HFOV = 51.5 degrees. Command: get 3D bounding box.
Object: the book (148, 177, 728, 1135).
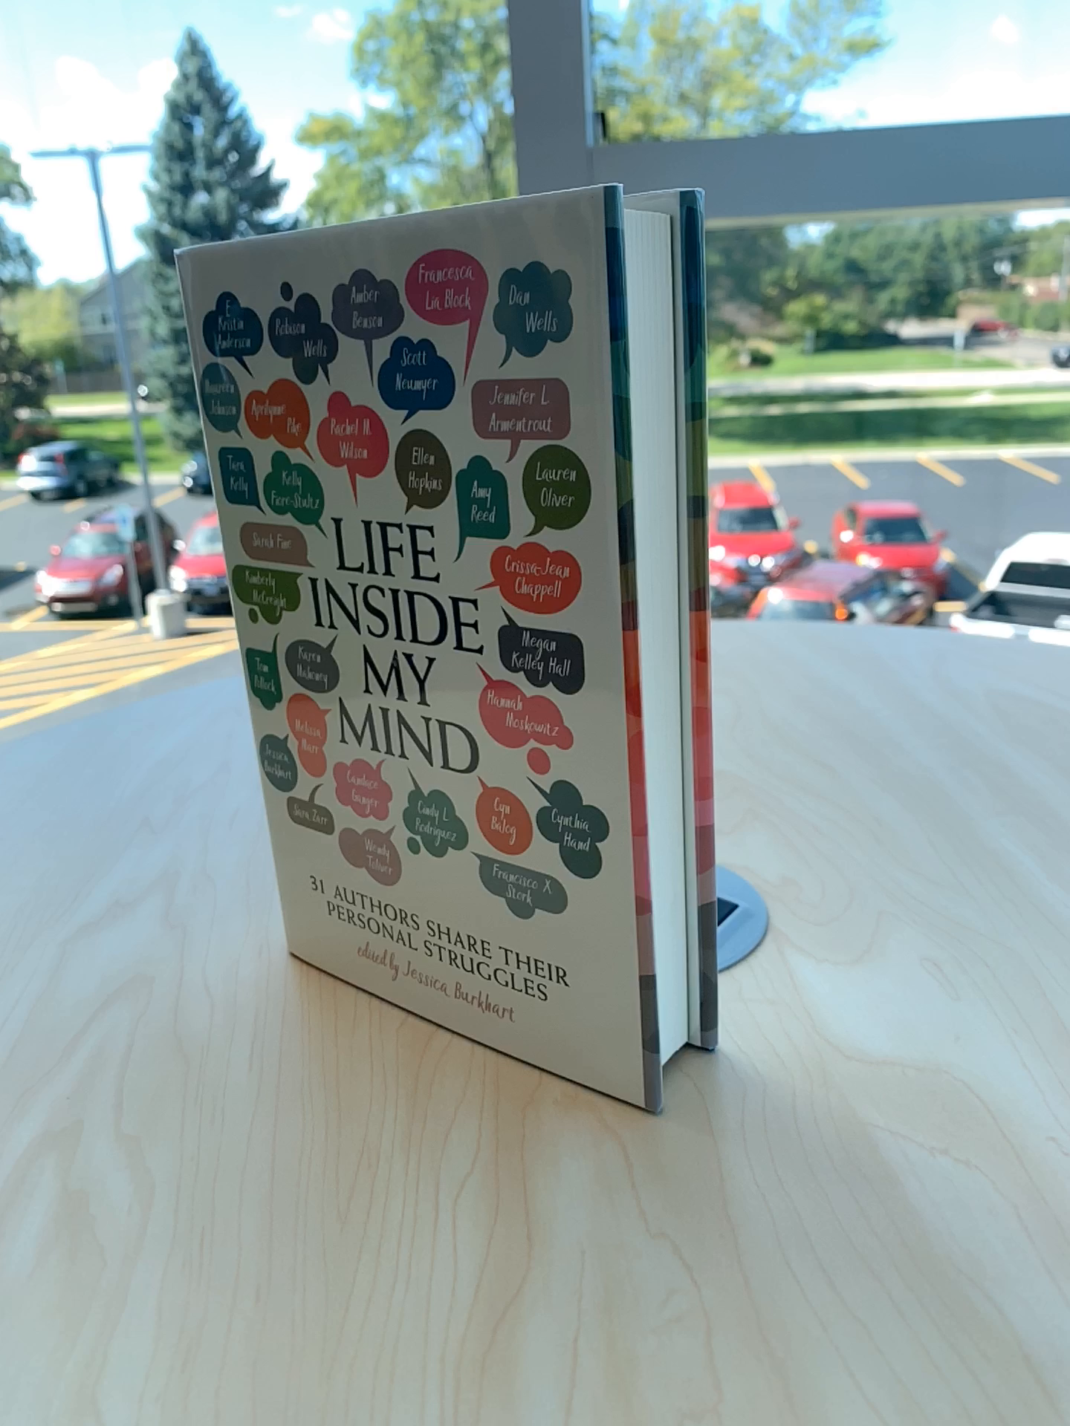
[{"bbox_3d":[-0.024,-0.013,0.295,0.150,0.218,0.030,12,26,36],"label":"book"}]
